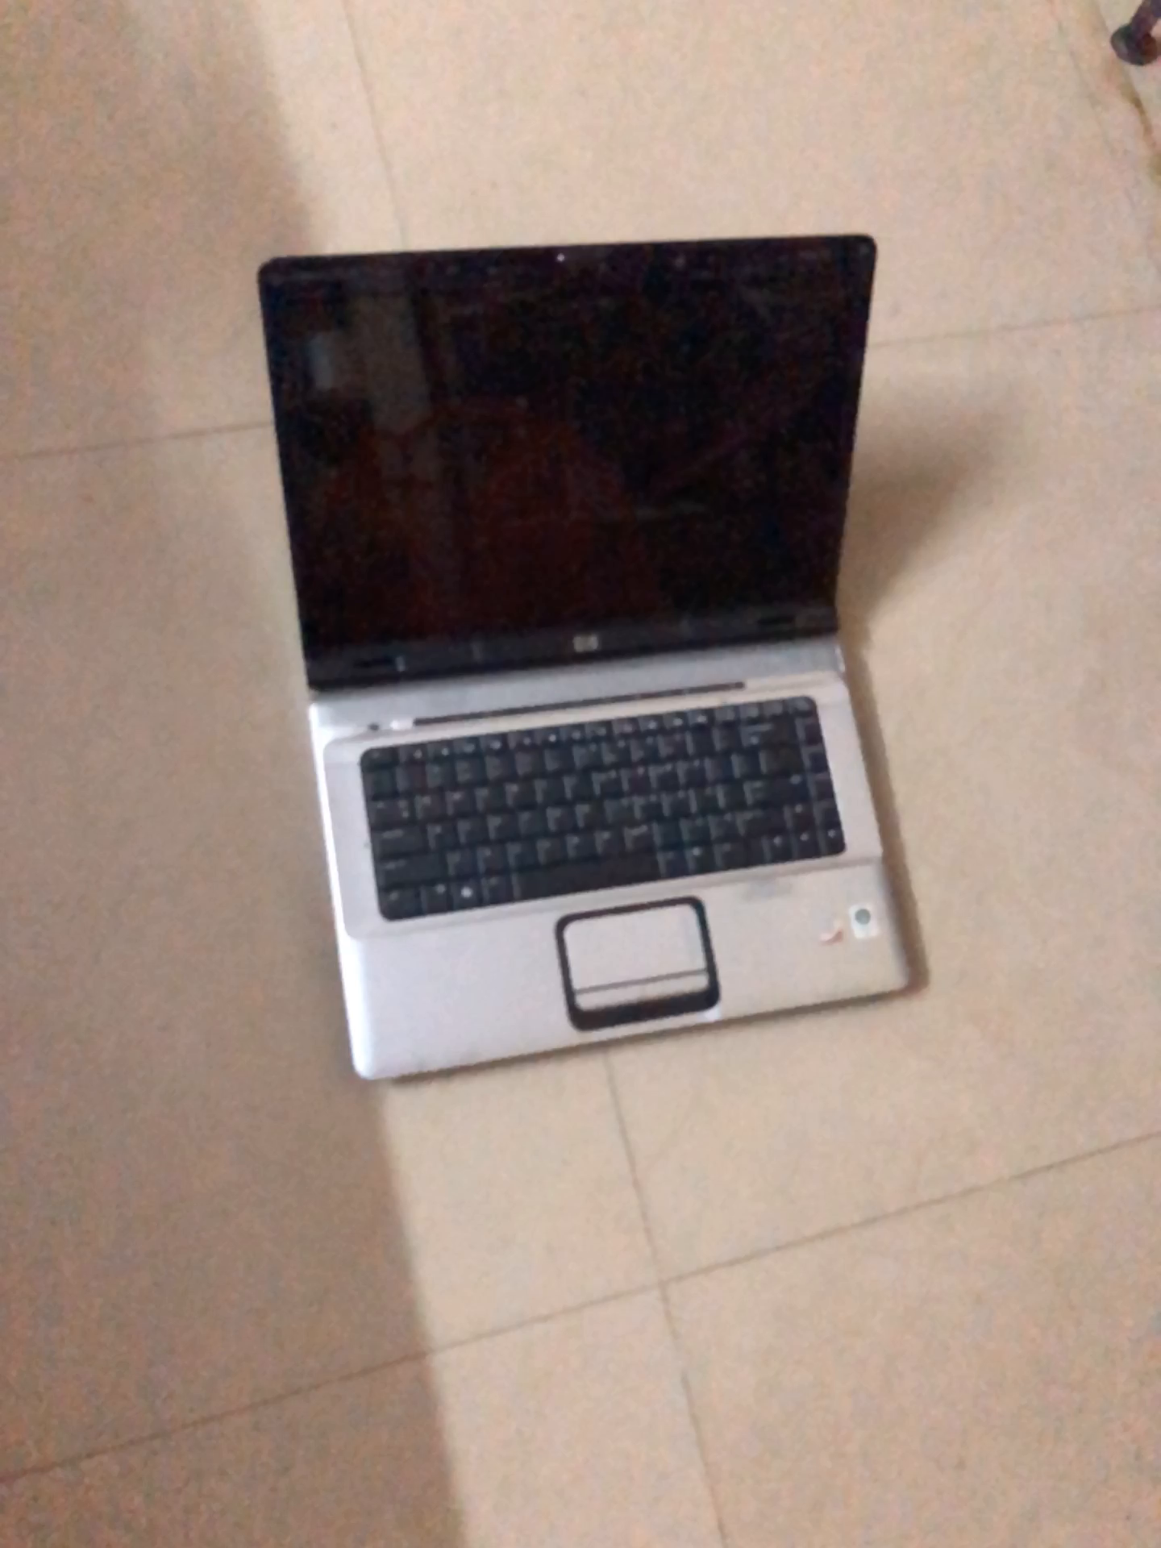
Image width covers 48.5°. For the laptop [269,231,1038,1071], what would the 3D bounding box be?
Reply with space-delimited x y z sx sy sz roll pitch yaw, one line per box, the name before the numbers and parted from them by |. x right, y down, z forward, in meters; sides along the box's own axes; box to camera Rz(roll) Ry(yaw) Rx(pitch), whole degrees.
laptop | 0.022 -0.069 0.736 0.338 0.167 0.409 -7 78 -12
